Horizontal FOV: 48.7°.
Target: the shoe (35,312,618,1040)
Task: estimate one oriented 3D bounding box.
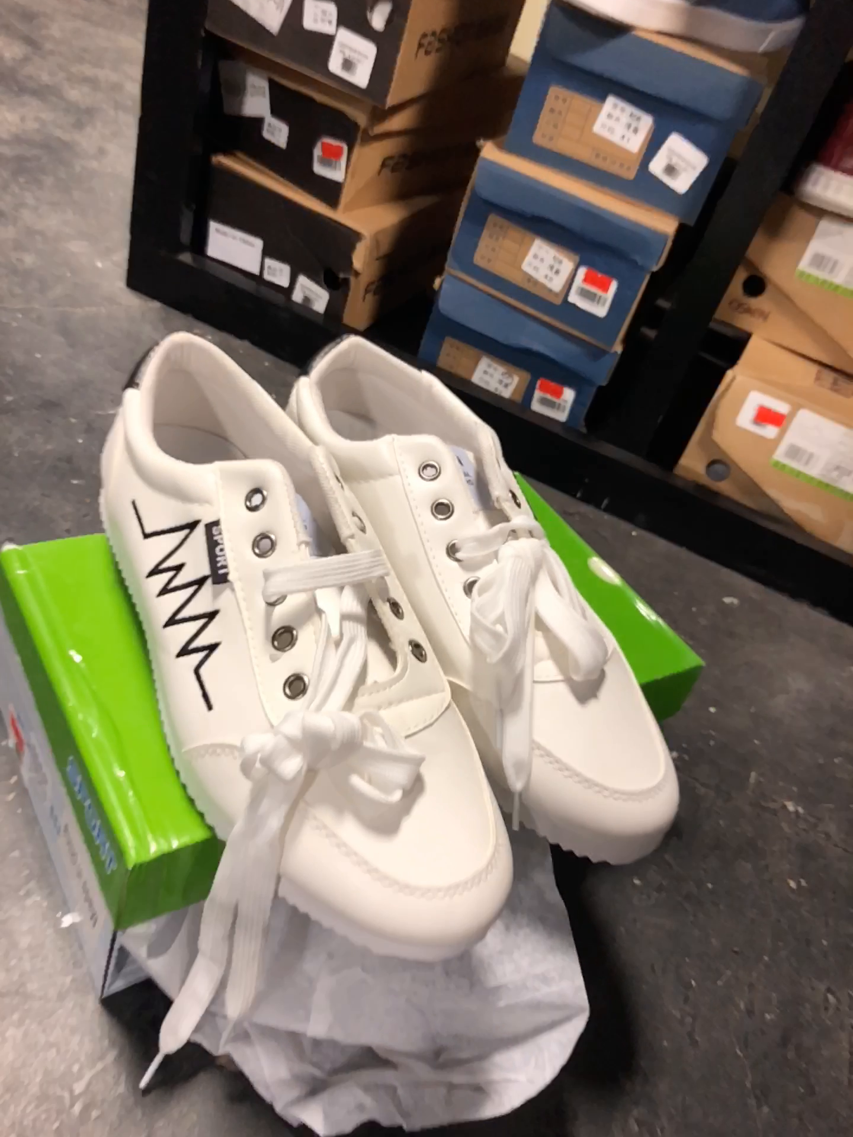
[{"bbox_3d":[-0.061,0.011,0.360,0.090,0.079,0.281,-15,49,-29],"label":"shoe"}]

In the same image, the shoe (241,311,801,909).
[{"bbox_3d":[0.017,-0.006,0.421,0.090,0.079,0.281,-15,49,-29],"label":"shoe"}]
